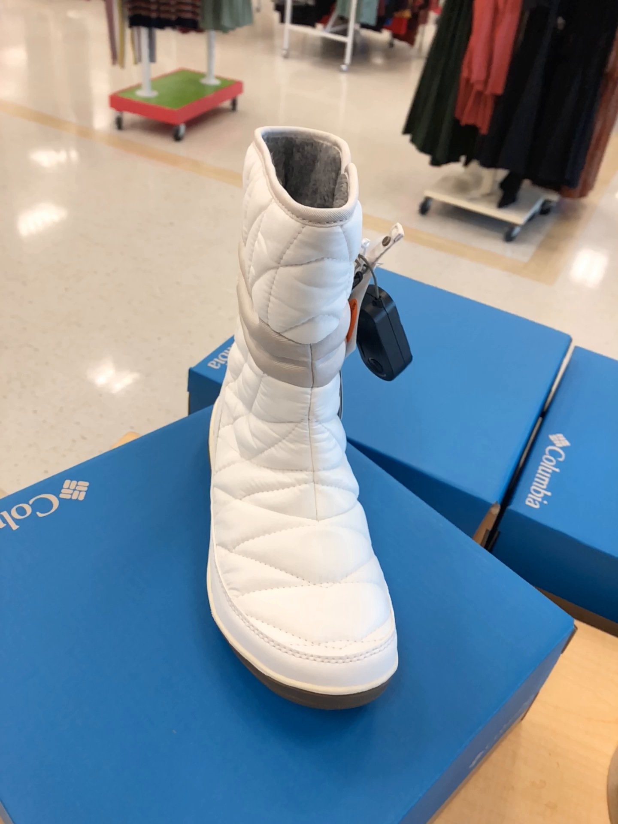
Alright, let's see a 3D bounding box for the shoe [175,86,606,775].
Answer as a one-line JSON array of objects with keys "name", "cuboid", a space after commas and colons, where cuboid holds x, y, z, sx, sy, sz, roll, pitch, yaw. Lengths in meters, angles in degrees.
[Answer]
[{"name": "shoe", "cuboid": [-0.005, -0.007, 0.354, 0.104, 0.228, 0.262, -4, 40, -13]}]
